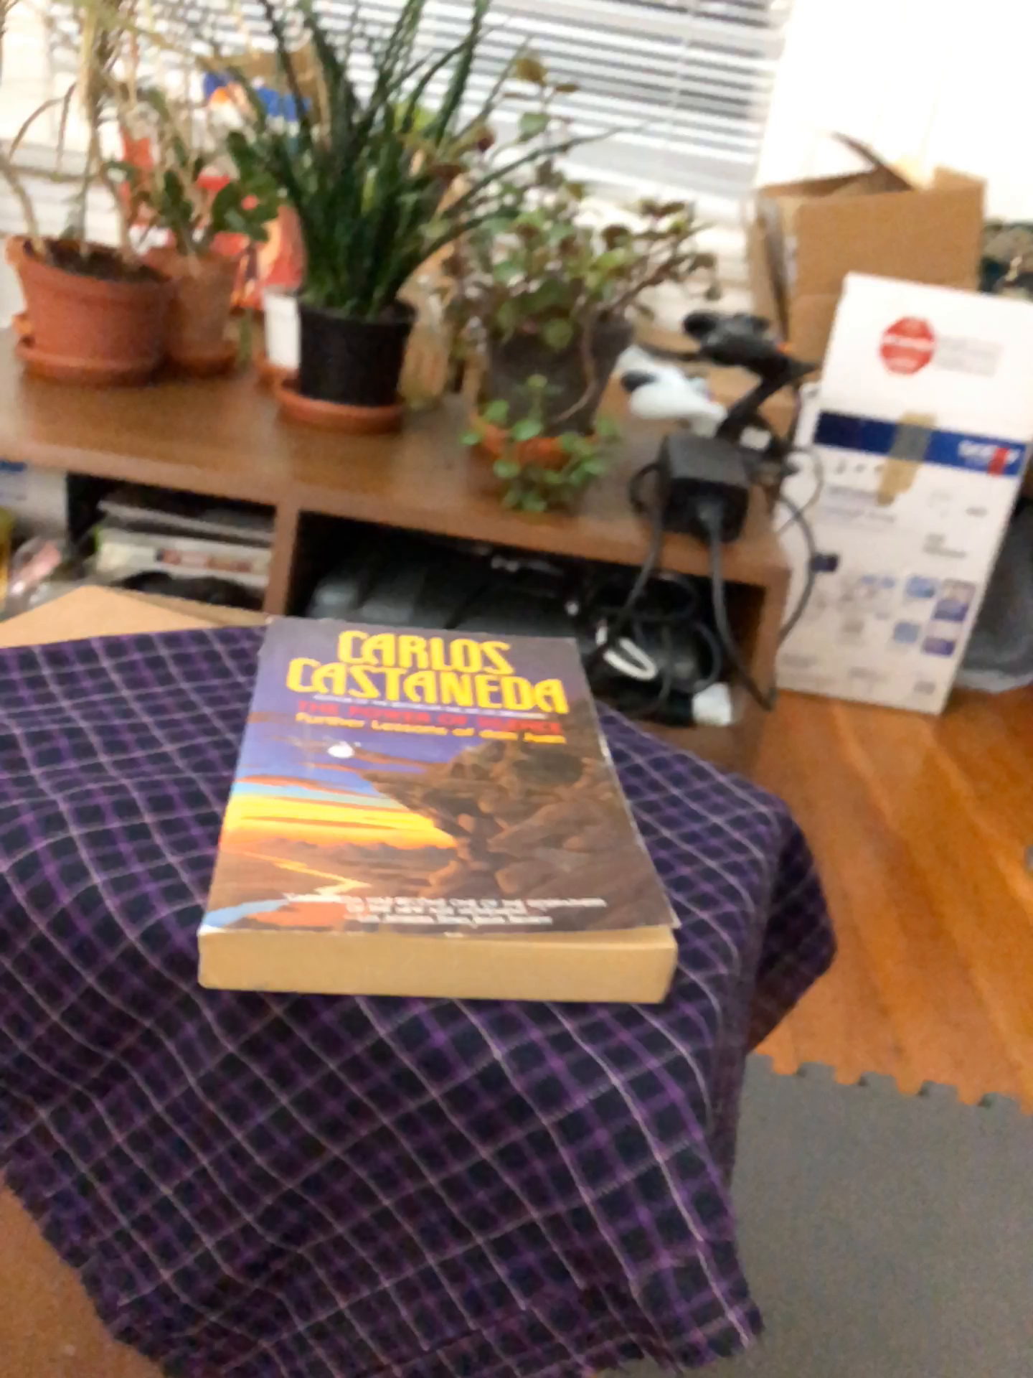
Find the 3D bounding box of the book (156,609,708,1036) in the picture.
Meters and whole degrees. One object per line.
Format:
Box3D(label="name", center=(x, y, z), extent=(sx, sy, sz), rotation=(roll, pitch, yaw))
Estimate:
Box3D(label="book", center=(-0.031, 0.033, 0.414), extent=(0.150, 0.020, 0.221), rotation=(5, 28, -8))
